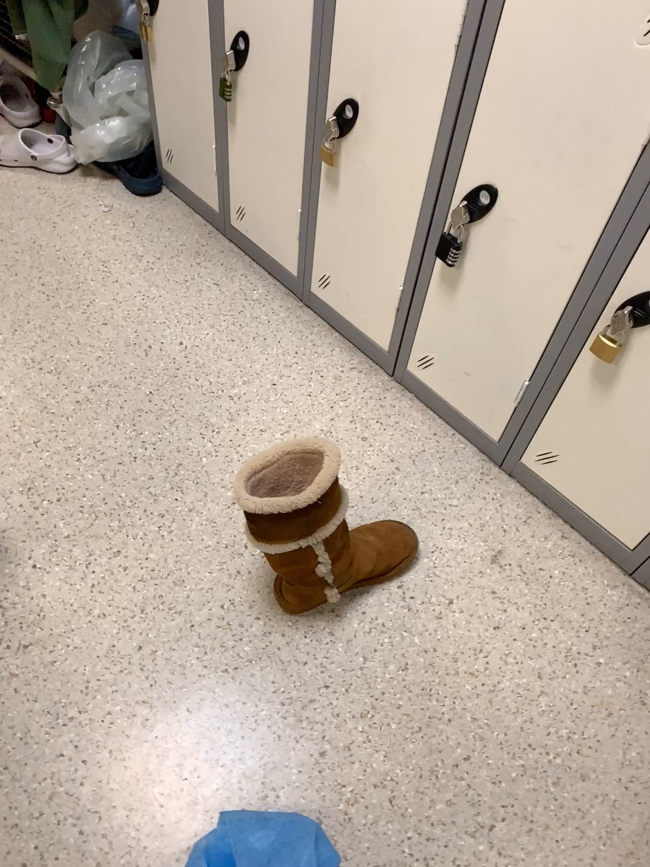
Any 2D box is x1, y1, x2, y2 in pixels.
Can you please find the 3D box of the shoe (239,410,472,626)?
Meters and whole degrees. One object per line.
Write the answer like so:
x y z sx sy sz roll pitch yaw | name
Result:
0.035 0.138 1.066 0.306 0.244 0.159 -17 56 -18 | shoe
